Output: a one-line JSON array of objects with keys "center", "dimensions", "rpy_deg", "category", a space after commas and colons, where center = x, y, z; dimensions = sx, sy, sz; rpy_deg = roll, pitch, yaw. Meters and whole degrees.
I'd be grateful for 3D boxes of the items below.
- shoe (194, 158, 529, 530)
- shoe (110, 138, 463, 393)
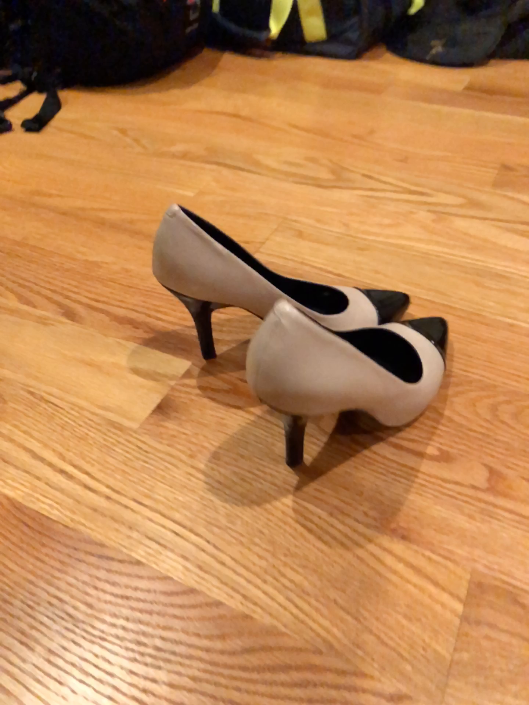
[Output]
[{"center": [0.075, -0.018, 0.402], "dimensions": [0.085, 0.138, 0.236], "rpy_deg": [33, 52, 31], "category": "shoe"}, {"center": [0.014, -0.070, 0.460], "dimensions": [0.235, 0.138, 0.086], "rpy_deg": [-11, 43, -12], "category": "shoe"}]
